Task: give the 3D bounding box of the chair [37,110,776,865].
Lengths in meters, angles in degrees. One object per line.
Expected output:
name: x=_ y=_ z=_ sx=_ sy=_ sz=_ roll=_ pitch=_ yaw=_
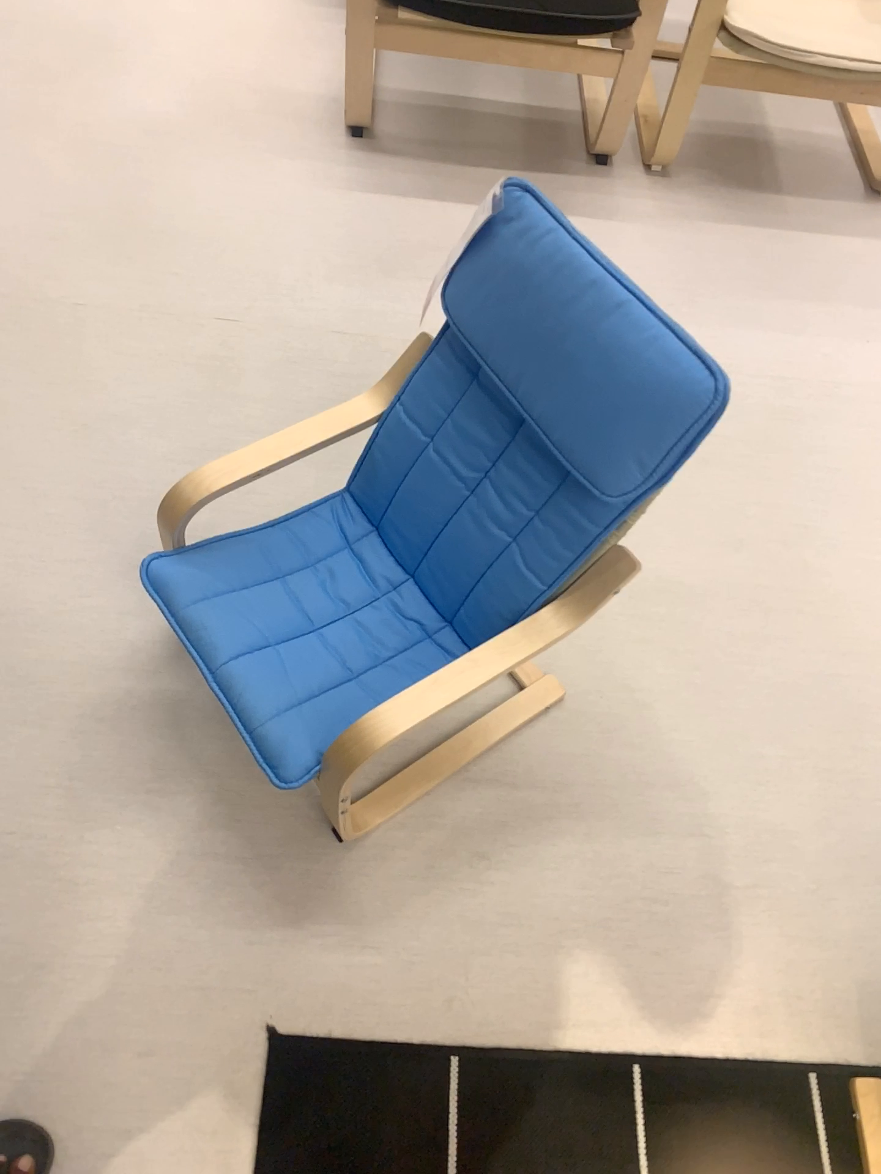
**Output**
chair: x=-0.069 y=-0.090 z=1.114 sx=0.500 sy=0.639 sz=0.511 roll=-29 pitch=67 yaw=-22
